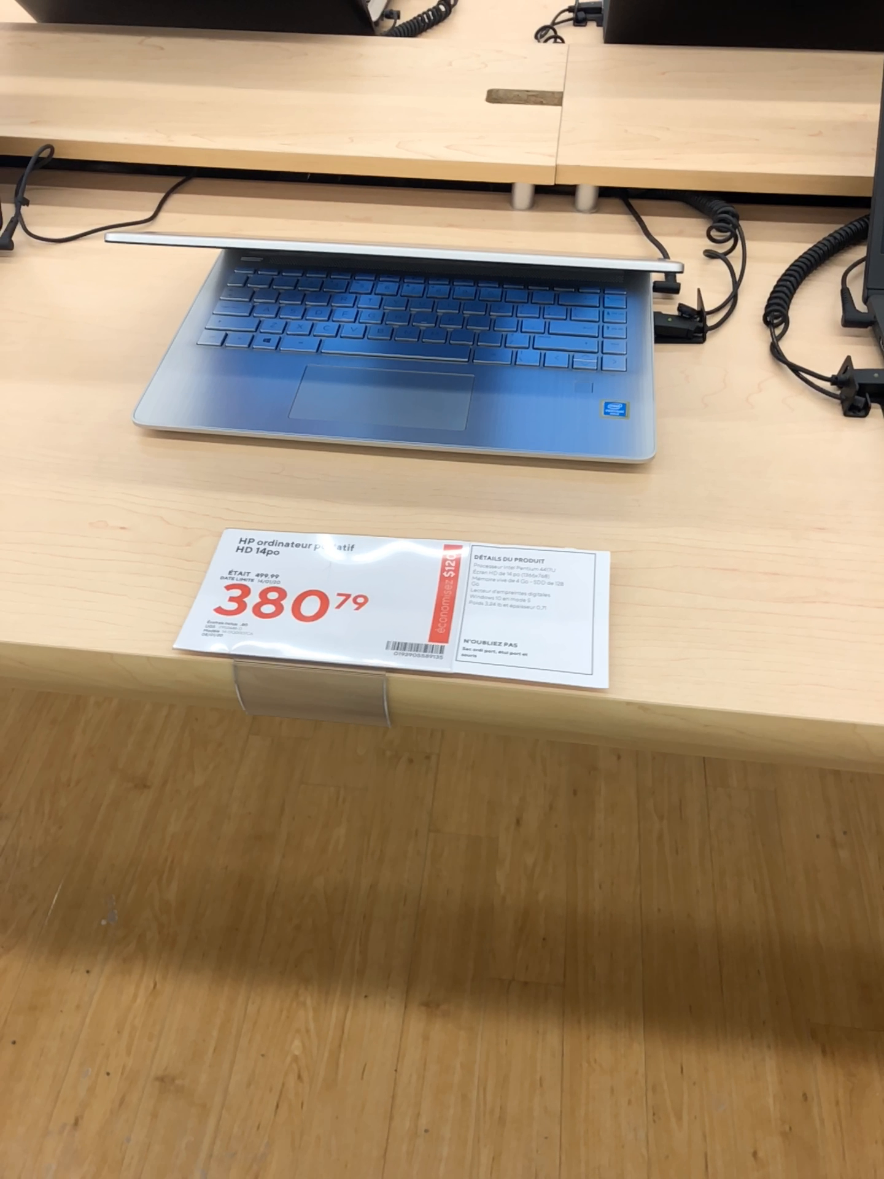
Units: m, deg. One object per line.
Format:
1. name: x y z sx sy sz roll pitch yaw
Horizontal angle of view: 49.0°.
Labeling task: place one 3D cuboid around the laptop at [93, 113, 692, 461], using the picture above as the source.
1. laptop: -0.025 -0.203 0.606 0.318 0.104 0.217 5 46 11
